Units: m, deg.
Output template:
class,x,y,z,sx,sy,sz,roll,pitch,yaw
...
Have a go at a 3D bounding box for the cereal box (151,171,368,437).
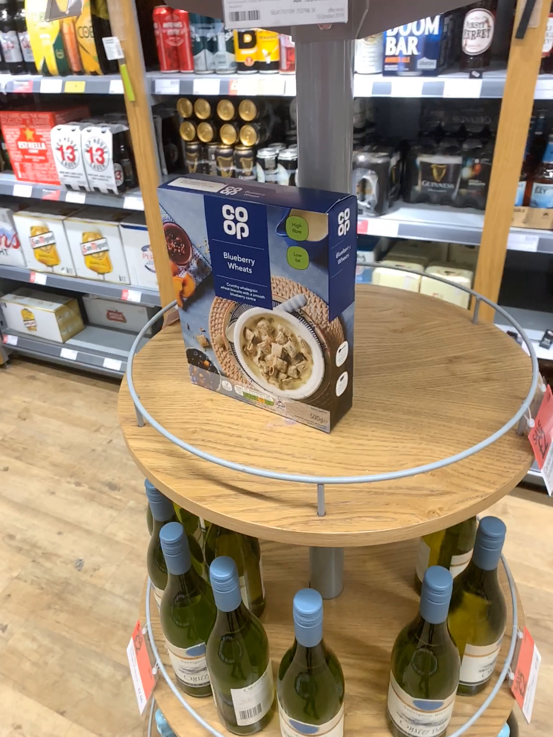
class,x,y,z,sx,sy,sz,roll,pitch,yaw
cereal box,-0.015,-0.068,0.580,0.201,0.228,0.060,17,38,29
